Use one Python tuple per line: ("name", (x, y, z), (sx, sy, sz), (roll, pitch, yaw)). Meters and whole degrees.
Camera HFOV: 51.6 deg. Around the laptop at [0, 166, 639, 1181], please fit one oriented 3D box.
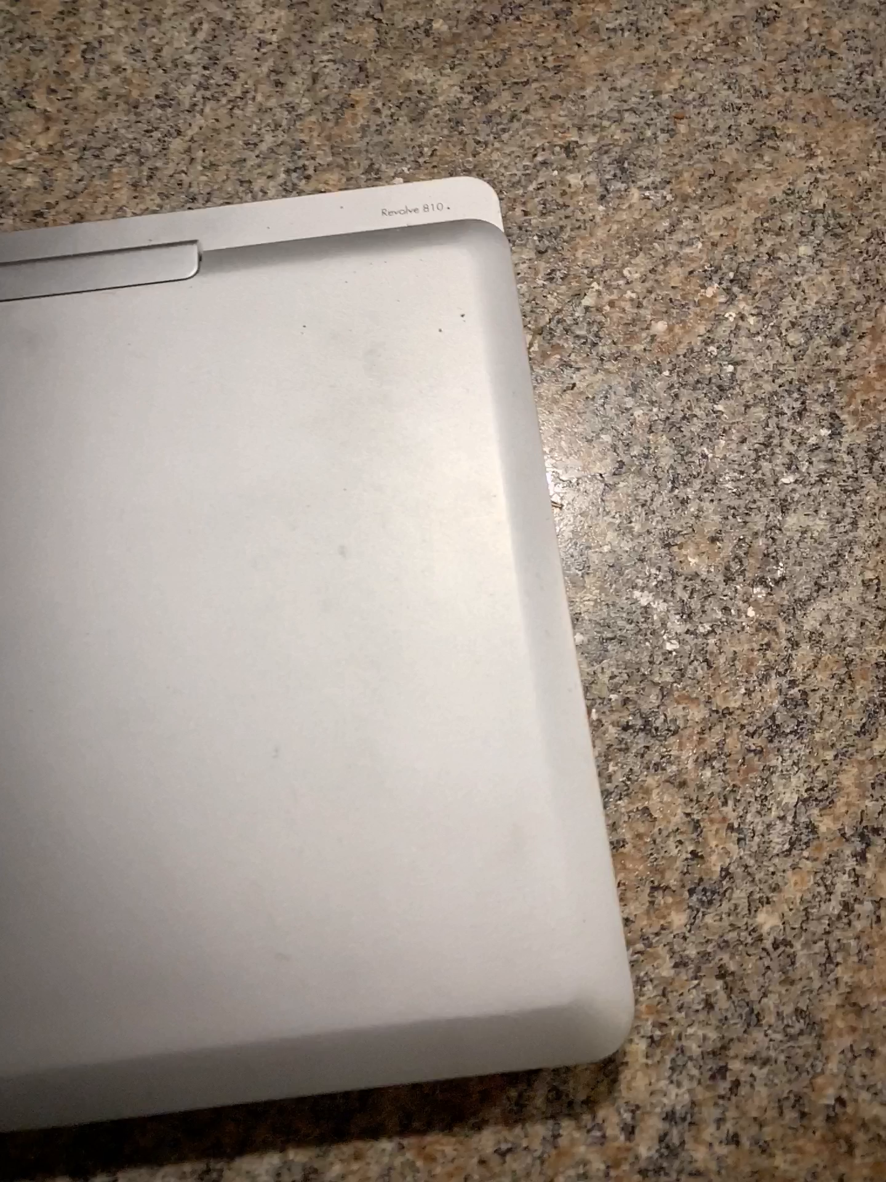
("laptop", (-0.110, 0.004, 0.192), (0.267, 0.005, 0.194), (-7, 70, 0))
